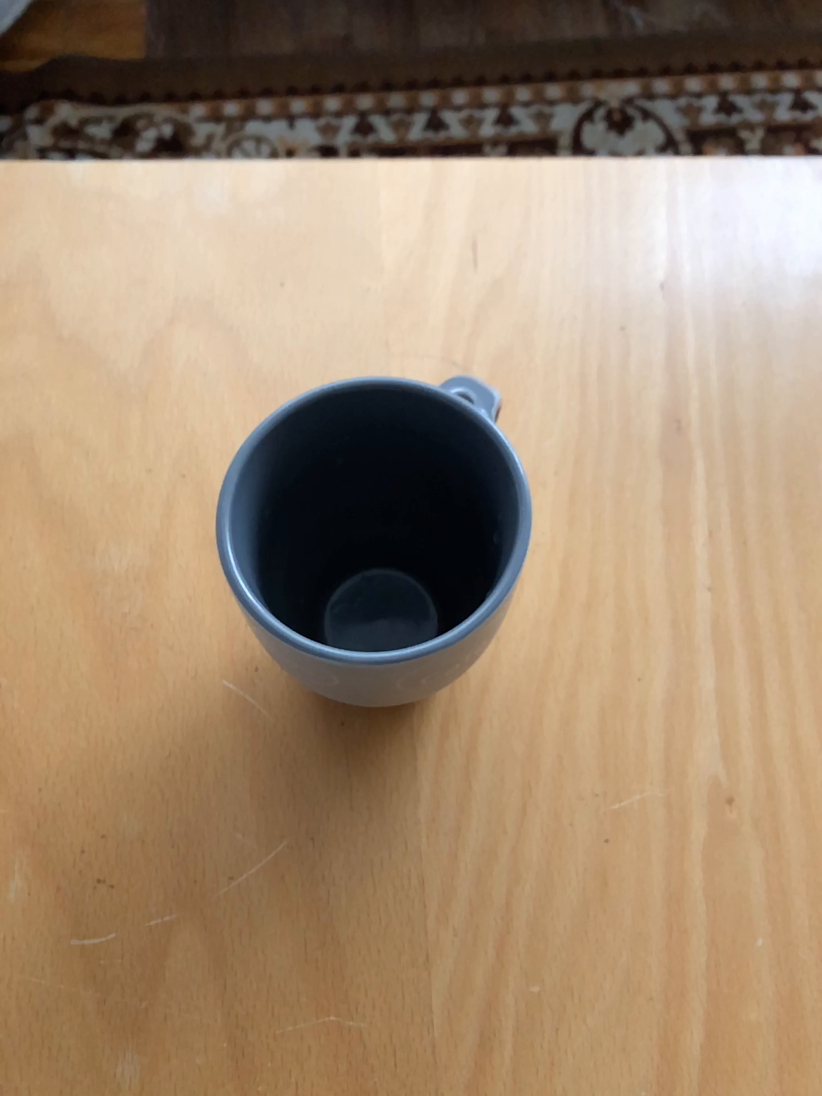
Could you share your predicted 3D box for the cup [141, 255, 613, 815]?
[{"bbox_3d":[-0.005,0.000,0.283,0.084,0.093,0.127,19,67,7],"label":"cup"}]
